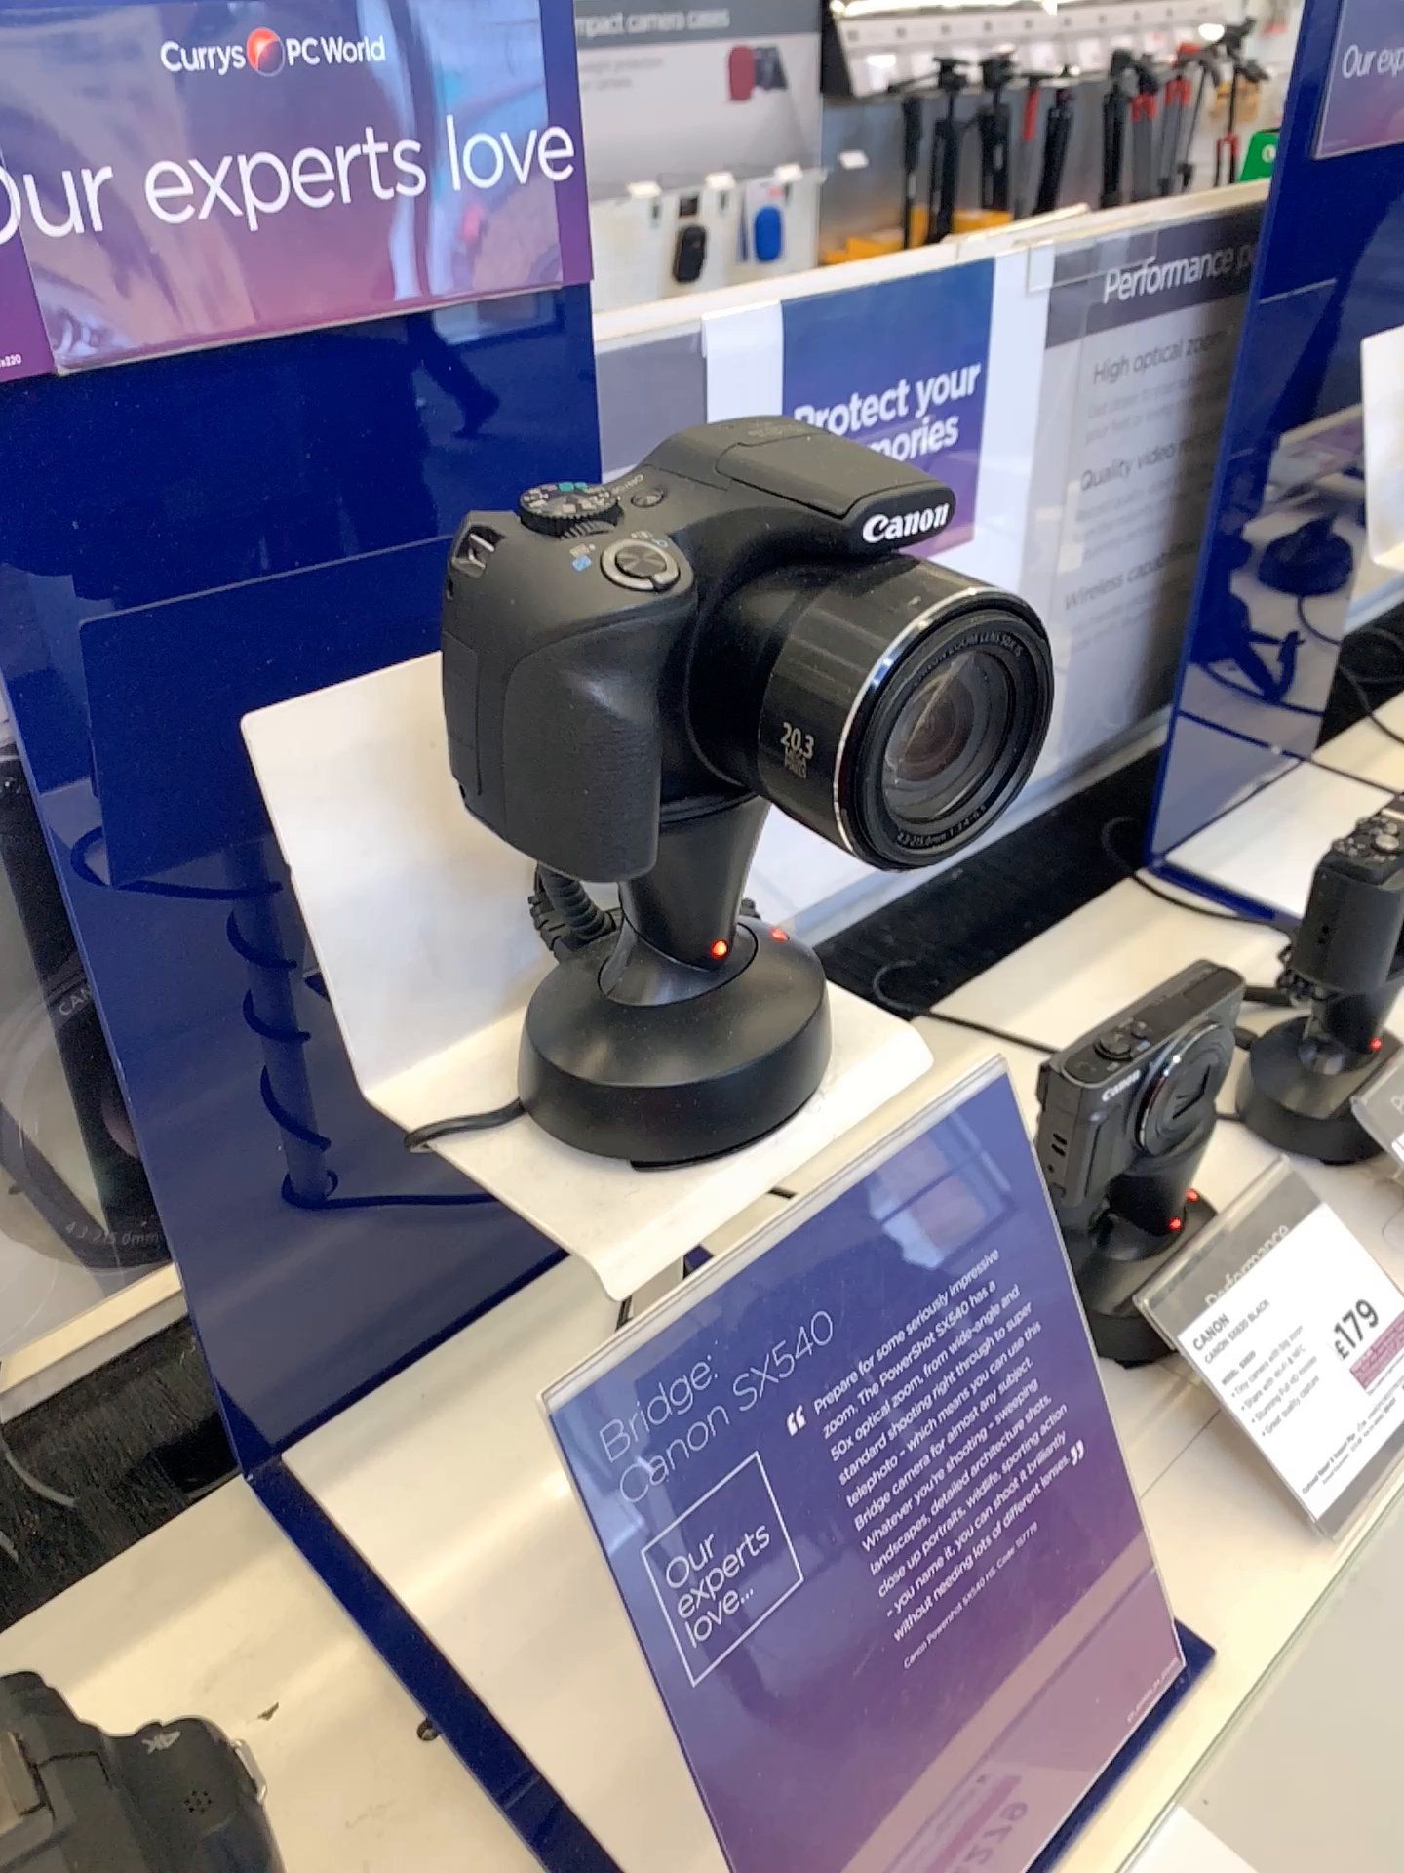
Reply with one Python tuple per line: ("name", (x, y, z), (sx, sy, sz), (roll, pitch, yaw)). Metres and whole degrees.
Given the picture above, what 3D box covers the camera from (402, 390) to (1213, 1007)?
("camera", (0.020, -0.061, 0.310), (0.120, 0.069, 0.111), (-23, 40, -30))
